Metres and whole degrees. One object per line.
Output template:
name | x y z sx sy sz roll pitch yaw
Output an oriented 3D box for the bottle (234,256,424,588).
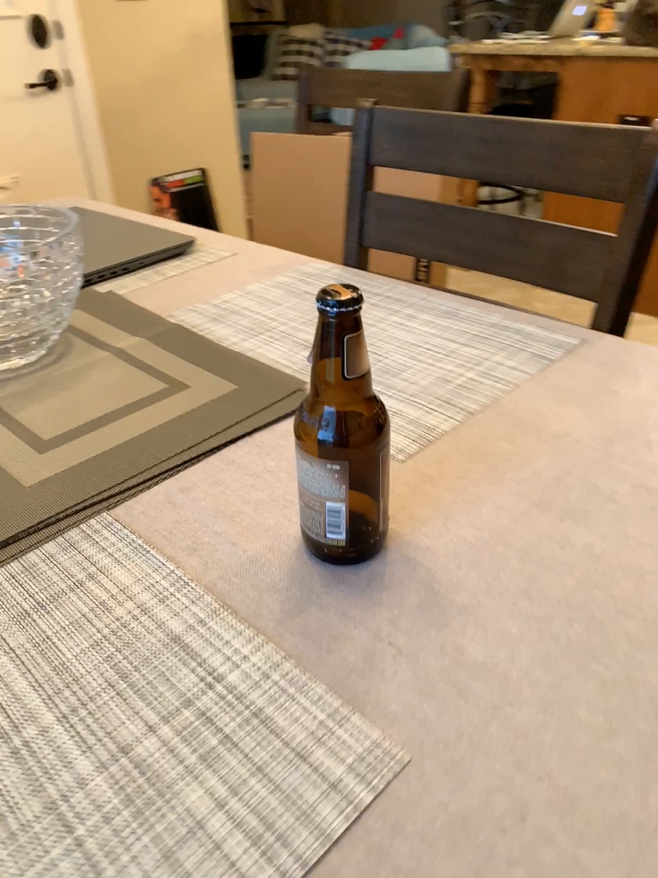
bottle | 0.003 -0.010 0.450 0.080 0.189 0.080 -2 32 1
